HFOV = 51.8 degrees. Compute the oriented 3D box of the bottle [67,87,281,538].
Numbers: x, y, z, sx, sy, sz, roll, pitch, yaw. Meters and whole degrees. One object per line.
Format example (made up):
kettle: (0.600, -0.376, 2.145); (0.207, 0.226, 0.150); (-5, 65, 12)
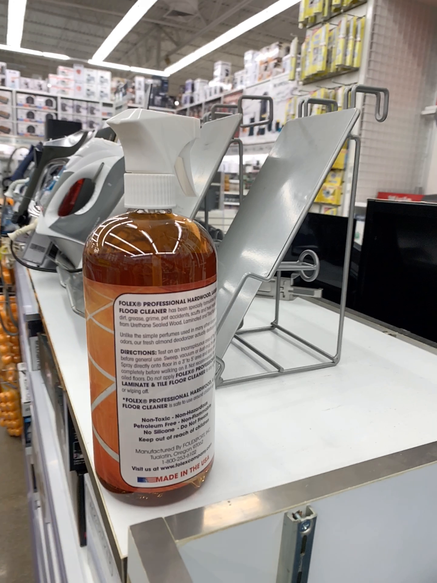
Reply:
bottle: (-0.037, 0.011, 0.303); (0.100, 0.249, 0.090); (-5, 16, -34)
